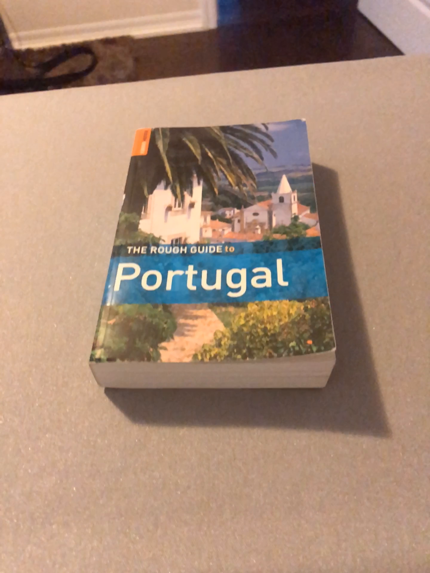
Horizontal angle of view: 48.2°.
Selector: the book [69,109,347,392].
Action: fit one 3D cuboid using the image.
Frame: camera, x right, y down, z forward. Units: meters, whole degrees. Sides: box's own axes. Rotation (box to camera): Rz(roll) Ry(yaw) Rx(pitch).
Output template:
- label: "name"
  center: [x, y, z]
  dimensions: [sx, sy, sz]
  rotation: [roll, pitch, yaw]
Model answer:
- label: "book"
  center: [-0.001, -0.035, 0.316]
  dimensions: [0.139, 0.040, 0.205]
  rotation: [-1, 53, 4]
